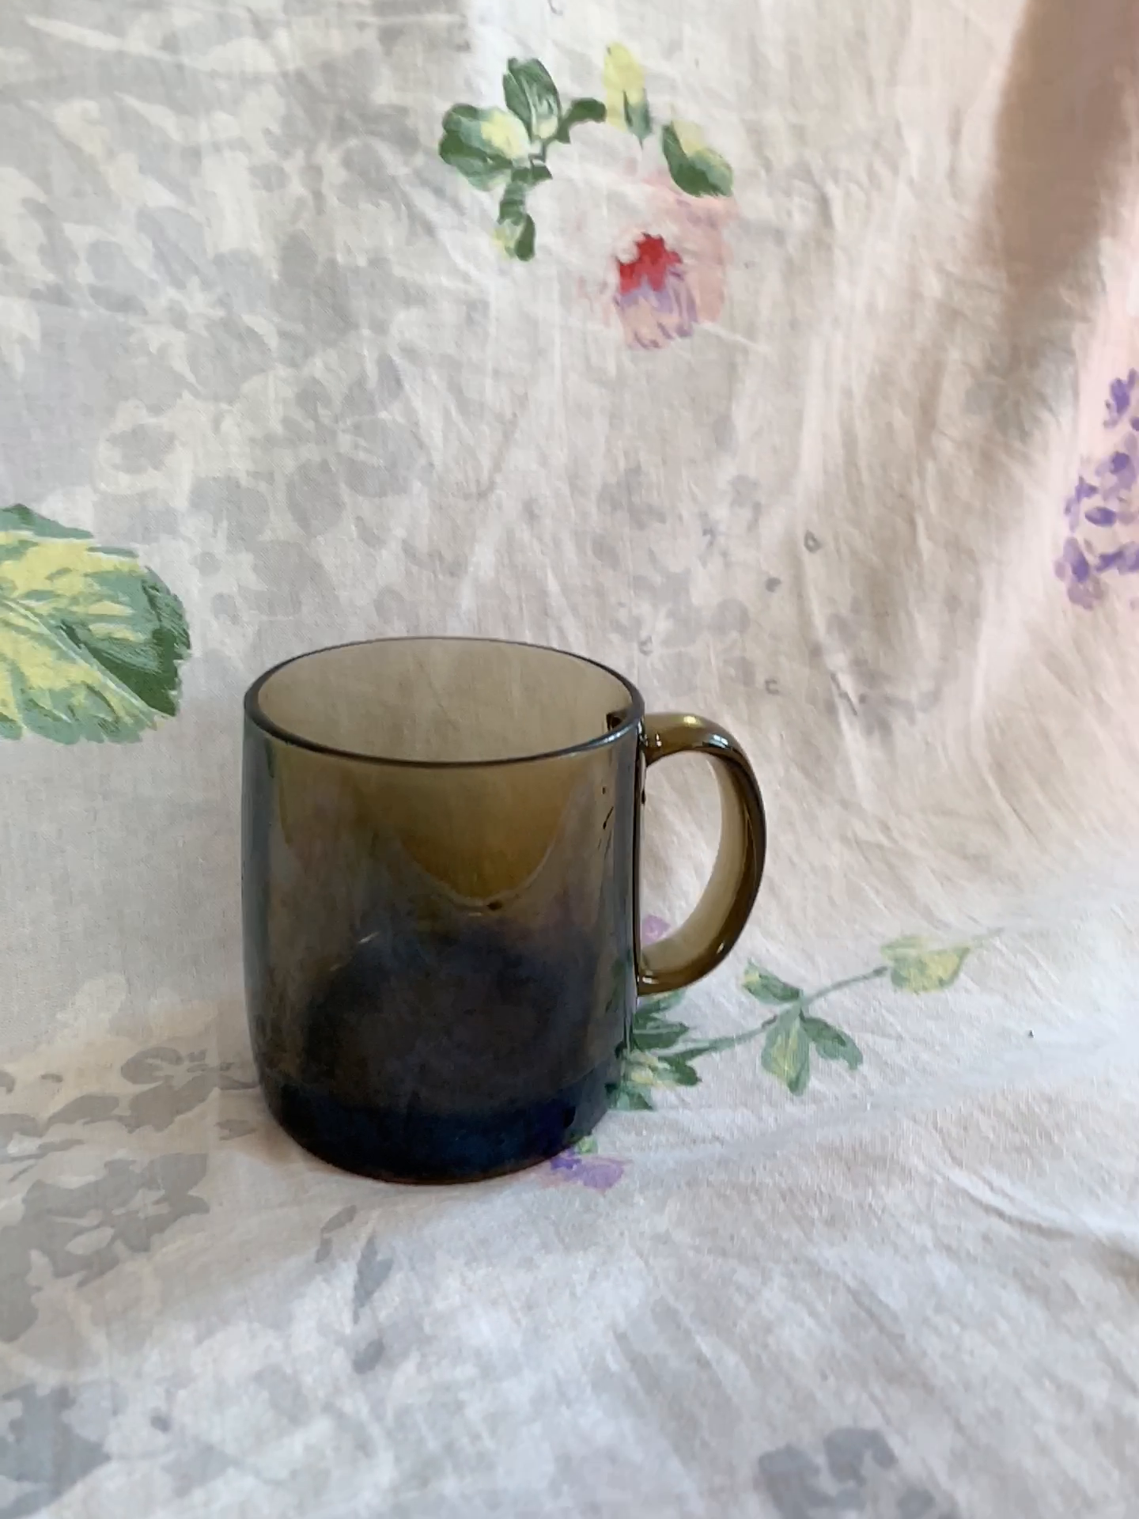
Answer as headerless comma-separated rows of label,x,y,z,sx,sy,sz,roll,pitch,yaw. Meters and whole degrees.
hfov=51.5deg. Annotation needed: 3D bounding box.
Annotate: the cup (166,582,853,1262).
cup,-0.016,0.025,0.262,0.120,0.099,0.082,-10,25,-24
